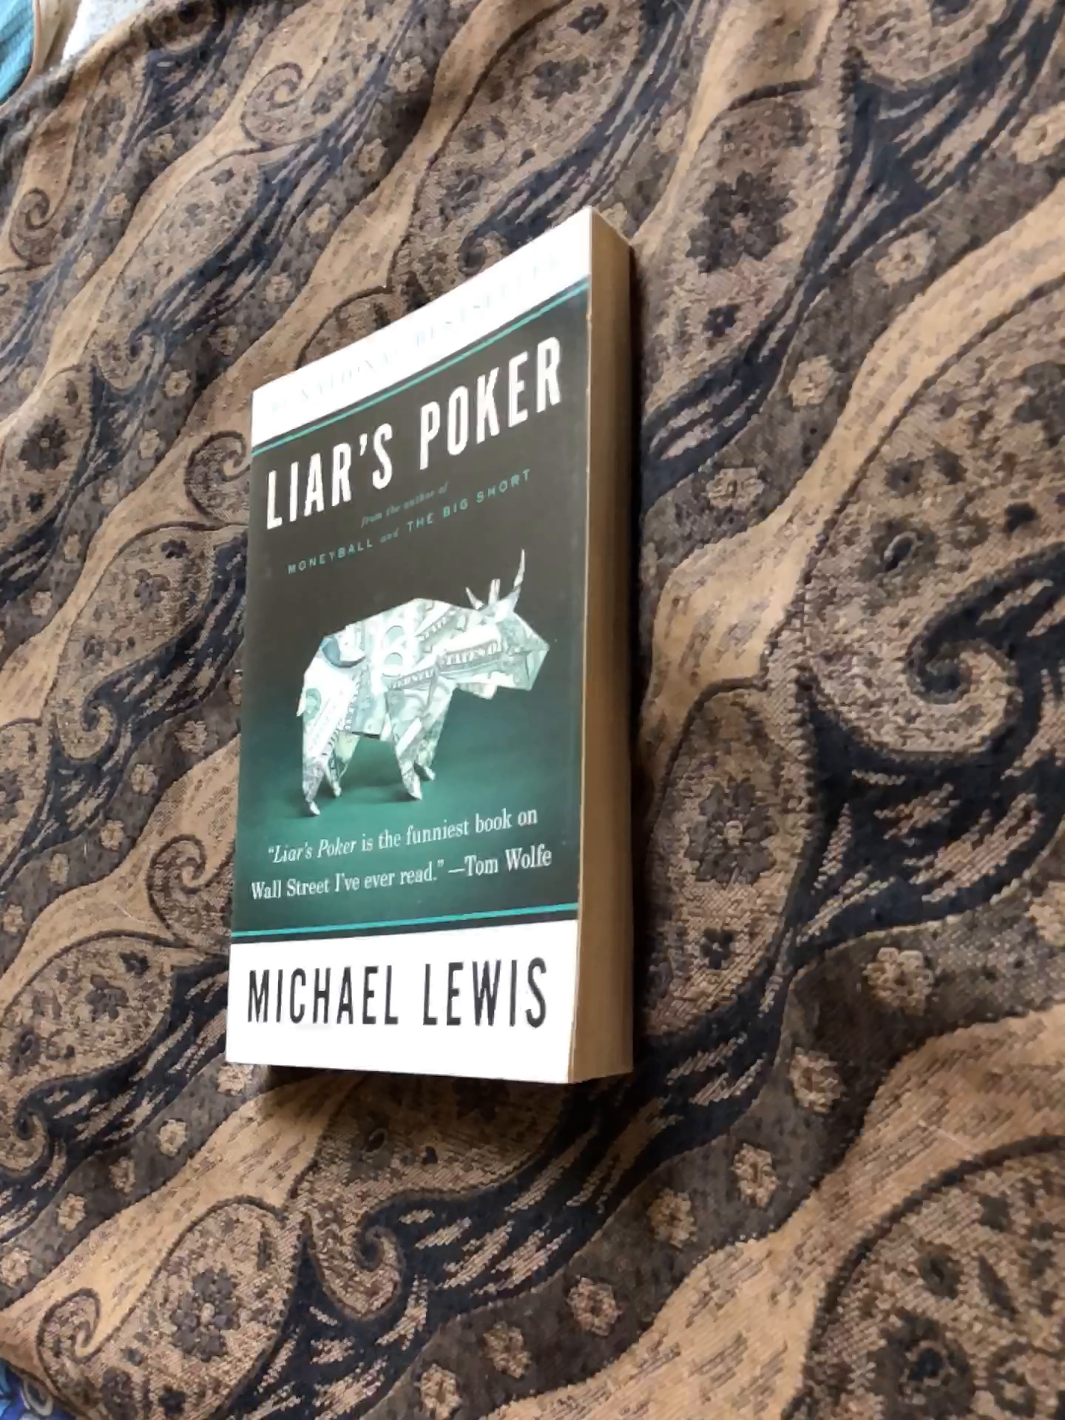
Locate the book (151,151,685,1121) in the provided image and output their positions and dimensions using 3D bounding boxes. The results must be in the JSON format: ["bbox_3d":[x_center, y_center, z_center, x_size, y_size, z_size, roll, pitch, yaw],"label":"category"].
[{"bbox_3d":[-0.035,-0.011,0.311,0.151,0.040,0.210,-10,74,42],"label":"book"}]
